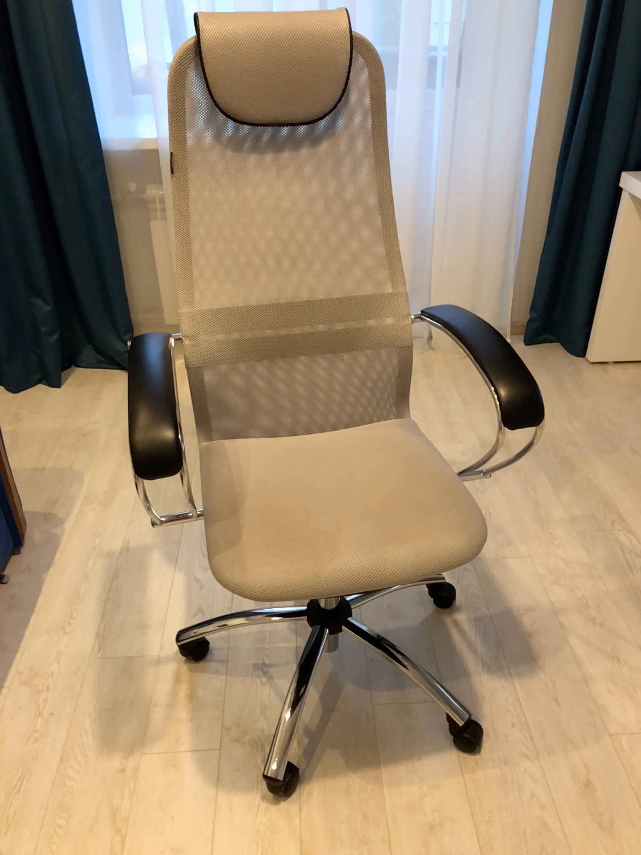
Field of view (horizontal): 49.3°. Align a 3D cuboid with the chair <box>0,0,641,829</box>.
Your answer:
[{"bbox_3d":[0.002,-0.037,1.190,0.680,1.152,0.695,-5,30,-3],"label":"chair"}]
